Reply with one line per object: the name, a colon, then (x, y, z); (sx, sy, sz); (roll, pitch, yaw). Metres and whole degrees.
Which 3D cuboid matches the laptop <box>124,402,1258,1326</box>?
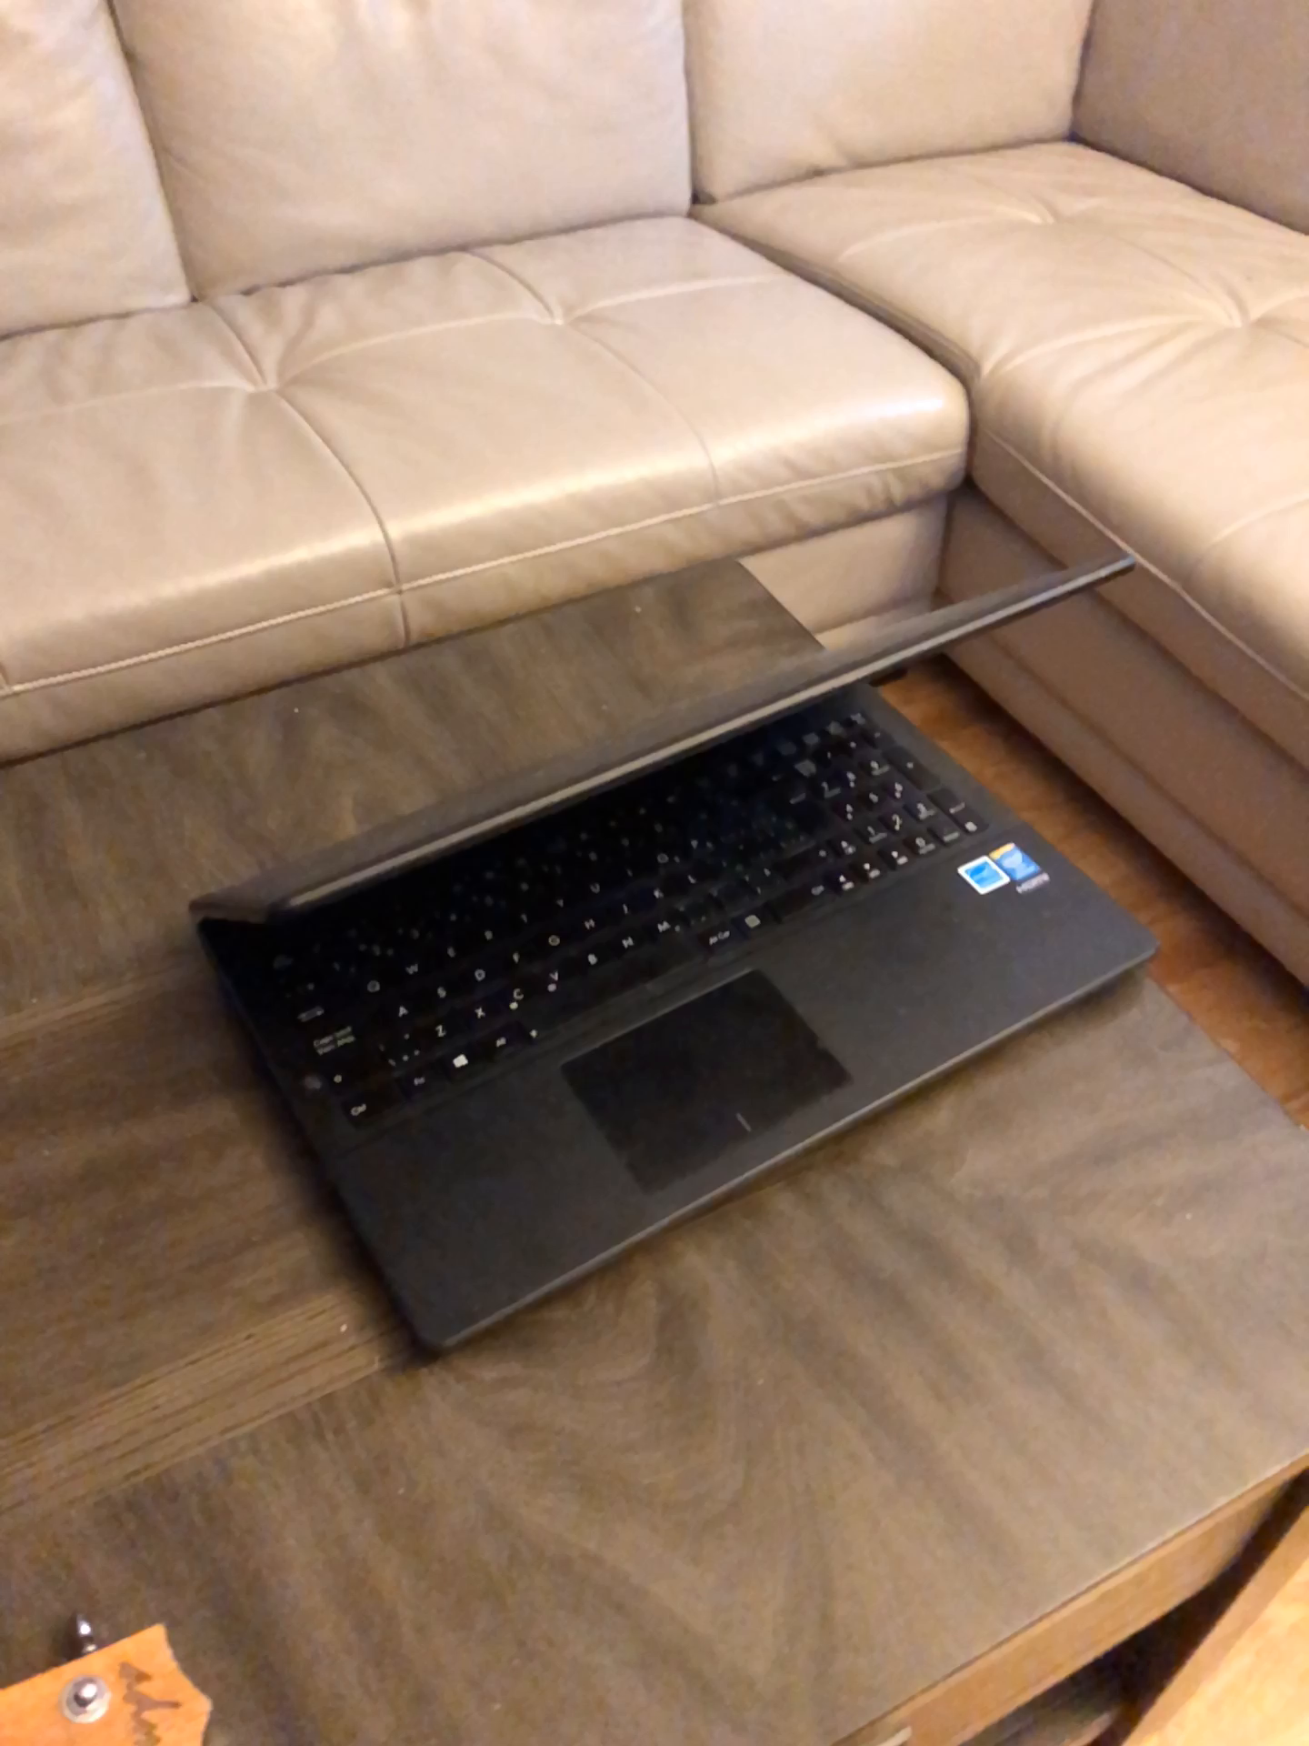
laptop: (0.014, -0.031, 0.619); (0.372, 0.164, 0.239); (-24, 50, -22)
